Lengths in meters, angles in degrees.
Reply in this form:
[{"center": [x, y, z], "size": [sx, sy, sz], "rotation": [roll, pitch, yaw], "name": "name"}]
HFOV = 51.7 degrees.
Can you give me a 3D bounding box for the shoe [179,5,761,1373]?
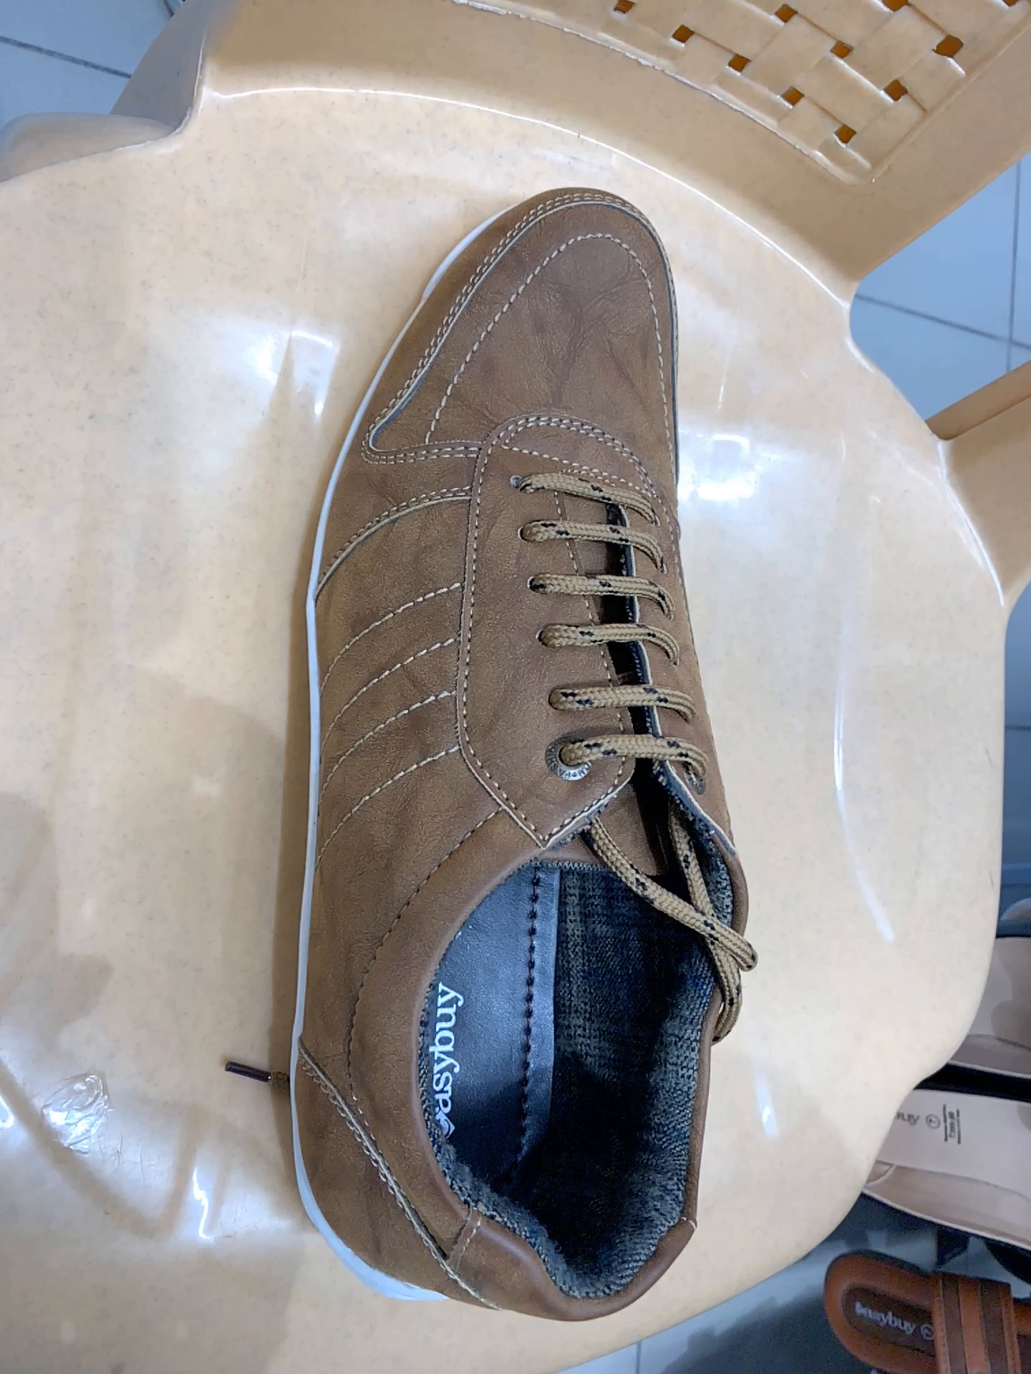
[{"center": [-0.007, 0.000, 0.286], "size": [0.100, 0.100, 0.310], "rotation": [11, 73, -24], "name": "shoe"}]
